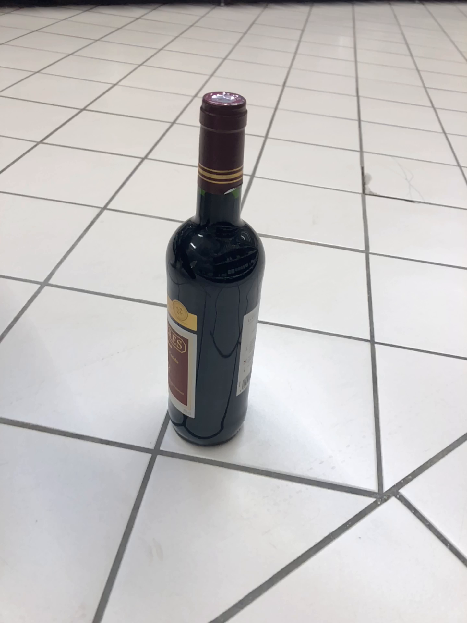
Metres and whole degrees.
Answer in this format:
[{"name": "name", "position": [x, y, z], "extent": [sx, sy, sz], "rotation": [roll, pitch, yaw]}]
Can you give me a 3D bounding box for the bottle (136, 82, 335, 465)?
[{"name": "bottle", "position": [-0.016, -0.013, 0.384], "extent": [0.100, 0.268, 0.101], "rotation": [4, 39, -3]}]
